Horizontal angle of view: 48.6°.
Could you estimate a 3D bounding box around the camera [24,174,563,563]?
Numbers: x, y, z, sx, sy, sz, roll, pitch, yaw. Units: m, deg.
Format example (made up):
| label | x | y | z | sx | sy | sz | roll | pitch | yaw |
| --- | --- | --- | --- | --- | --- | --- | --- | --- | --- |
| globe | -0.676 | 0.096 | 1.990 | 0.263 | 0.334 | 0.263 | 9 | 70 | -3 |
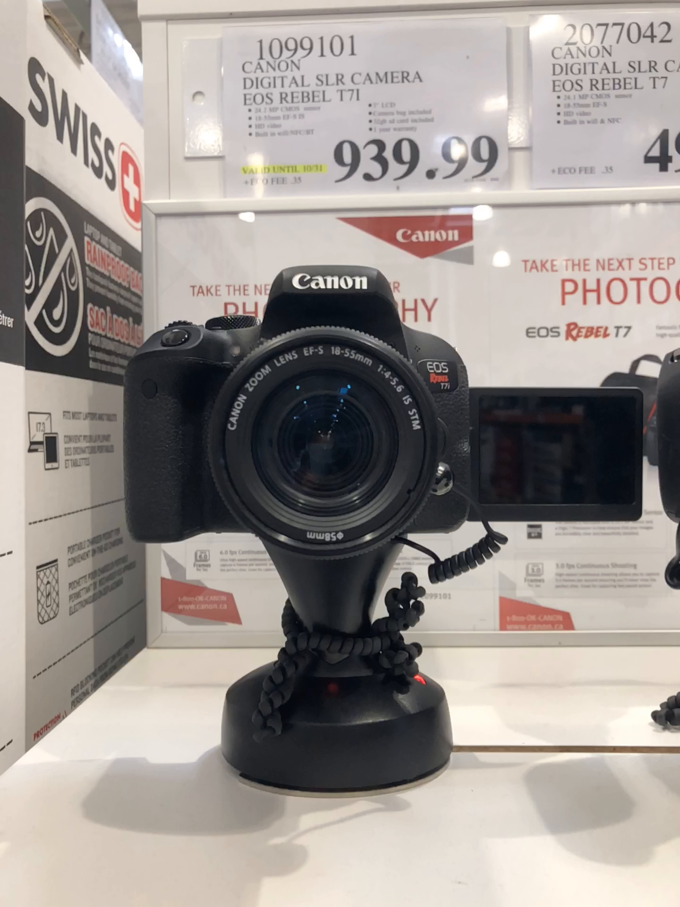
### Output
| label | x | y | z | sx | sy | sz | roll | pitch | yaw |
| --- | --- | --- | --- | --- | --- | --- | --- | --- | --- |
| camera | -0.011 | -0.023 | 0.272 | 0.140 | 0.100 | 0.150 | -1 | 1 | 1 |
